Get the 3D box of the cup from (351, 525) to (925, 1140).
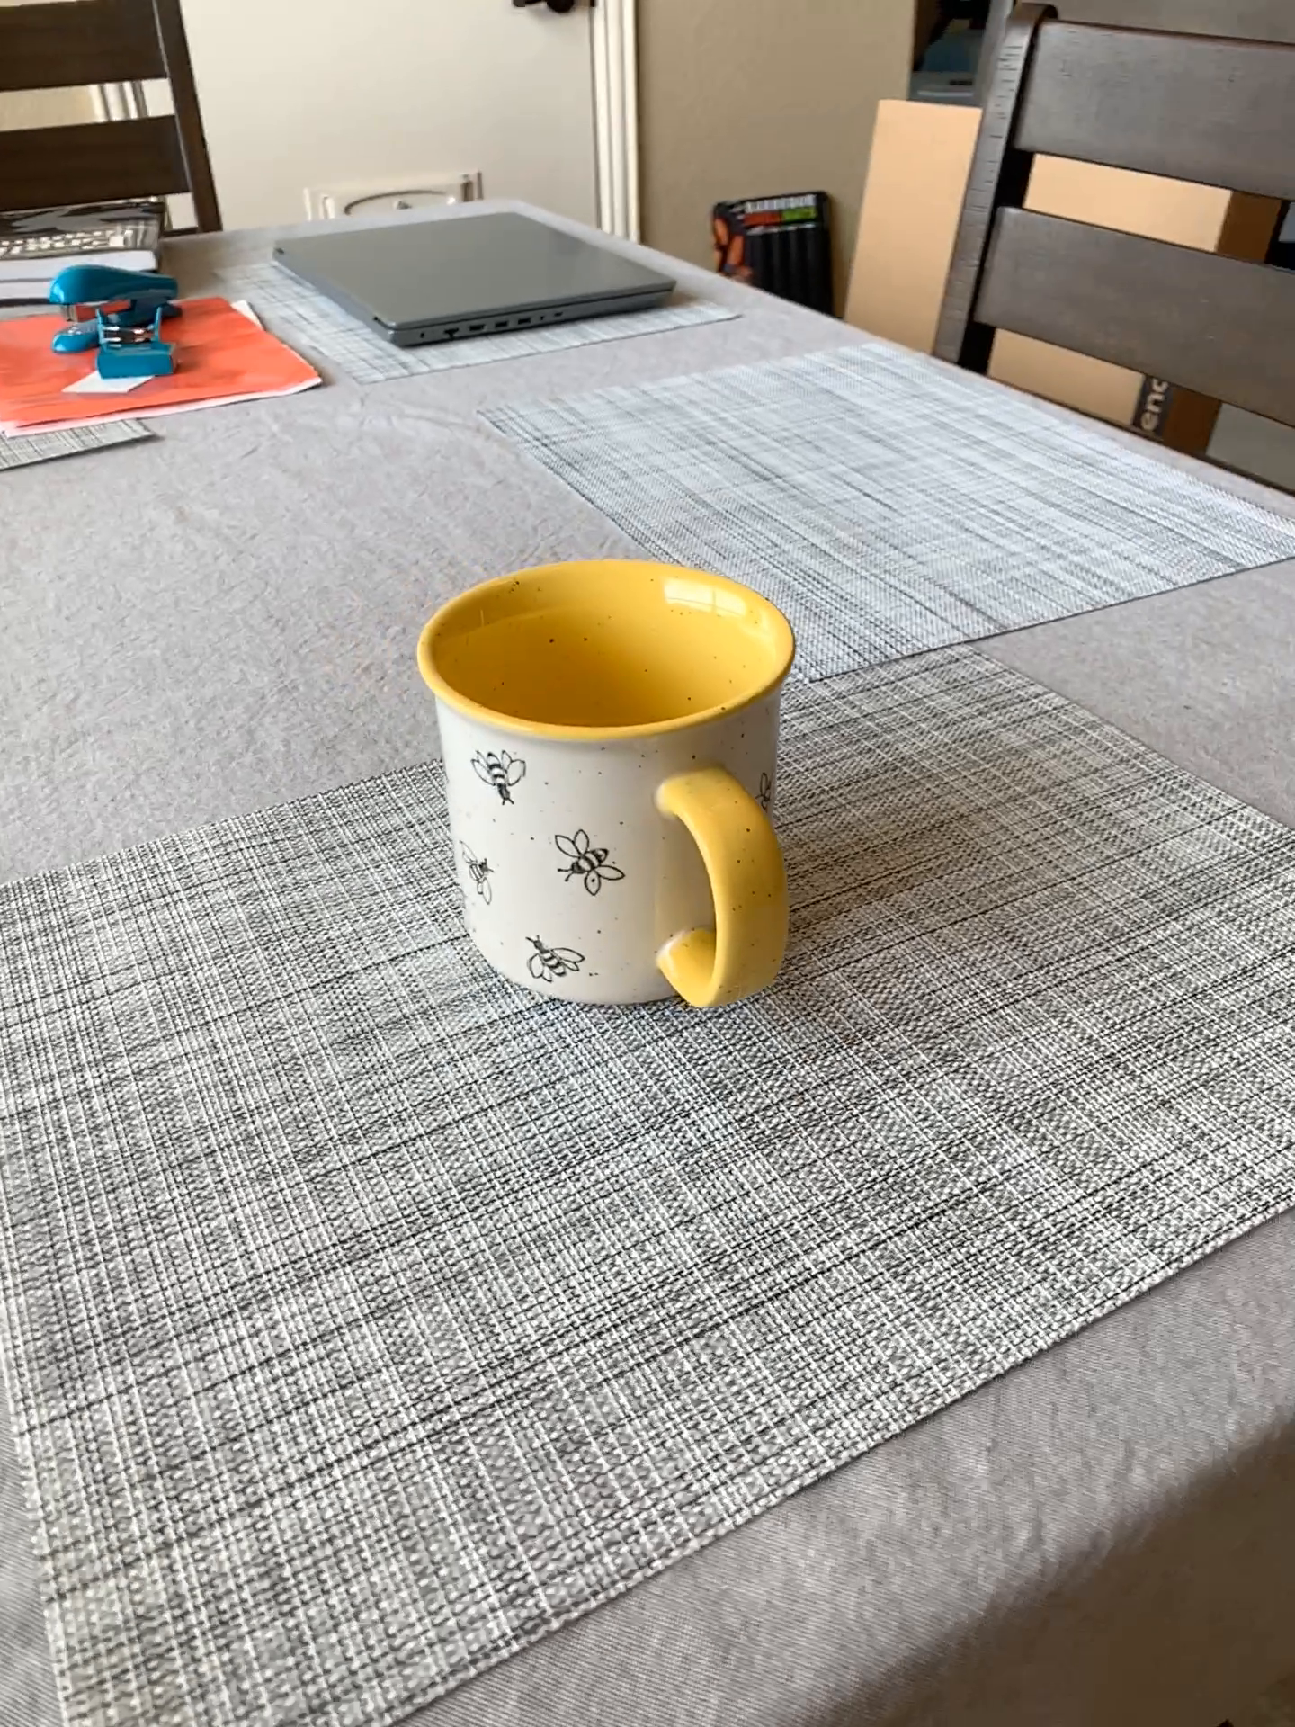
[{"bbox_3d":[-0.008,-0.018,0.403,0.113,0.107,0.137,-17,38,-20],"label":"cup"}]
